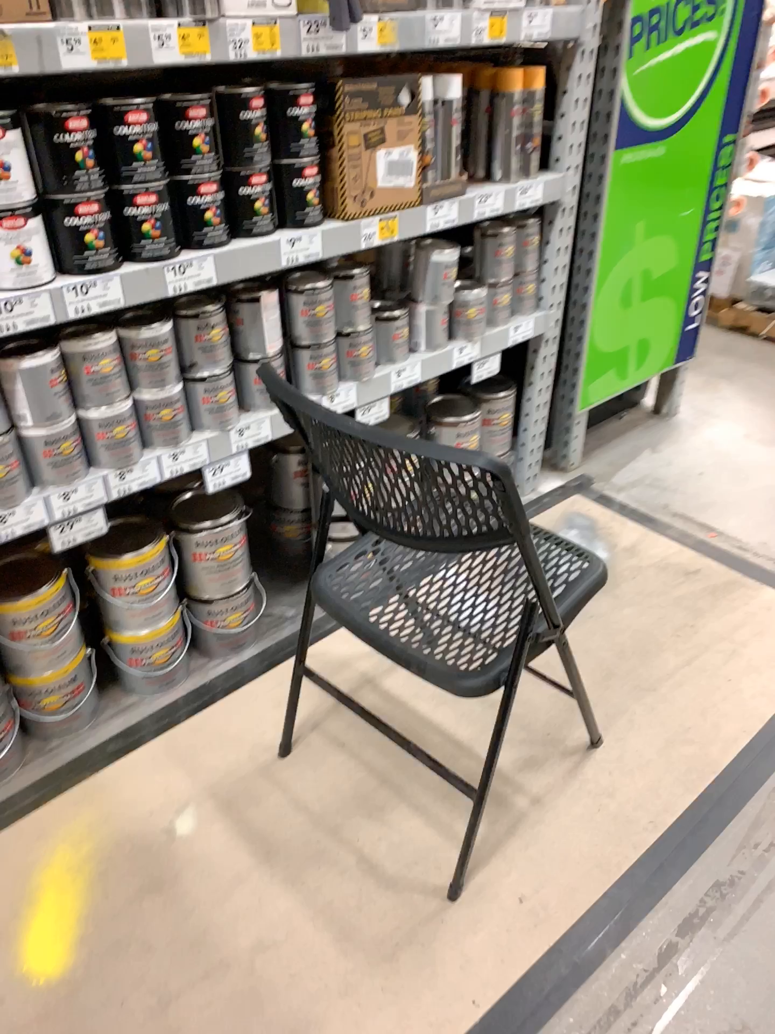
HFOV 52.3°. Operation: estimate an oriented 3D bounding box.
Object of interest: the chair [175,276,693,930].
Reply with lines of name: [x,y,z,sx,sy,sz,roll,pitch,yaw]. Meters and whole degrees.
chair: [0.072,0.109,1.333,0.520,0.813,0.516,27,42,36]
